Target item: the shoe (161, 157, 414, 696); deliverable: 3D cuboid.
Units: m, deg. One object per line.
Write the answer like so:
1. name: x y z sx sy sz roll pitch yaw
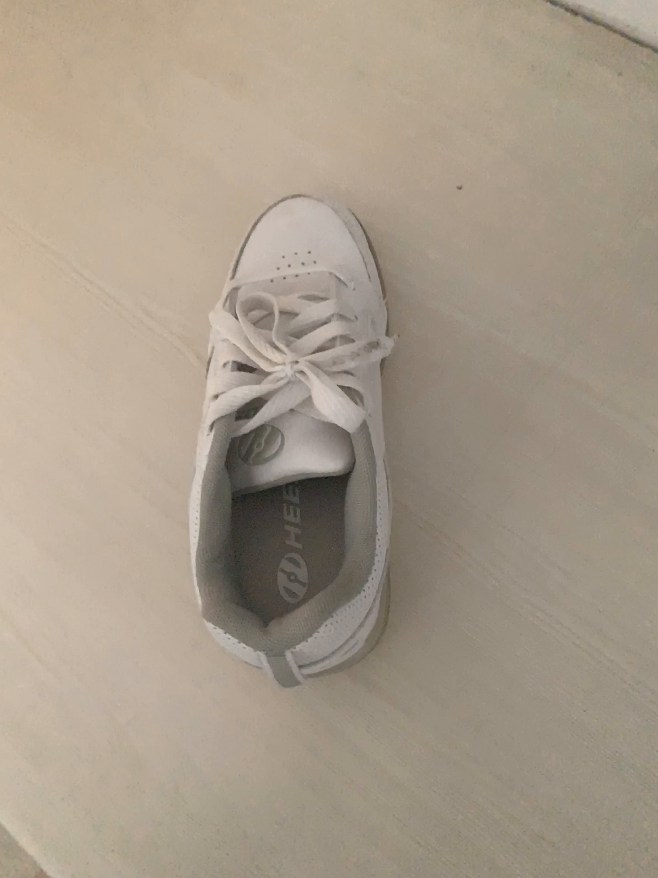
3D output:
1. shoe: -0.014 -0.003 0.324 0.090 0.090 0.230 -4 72 8
